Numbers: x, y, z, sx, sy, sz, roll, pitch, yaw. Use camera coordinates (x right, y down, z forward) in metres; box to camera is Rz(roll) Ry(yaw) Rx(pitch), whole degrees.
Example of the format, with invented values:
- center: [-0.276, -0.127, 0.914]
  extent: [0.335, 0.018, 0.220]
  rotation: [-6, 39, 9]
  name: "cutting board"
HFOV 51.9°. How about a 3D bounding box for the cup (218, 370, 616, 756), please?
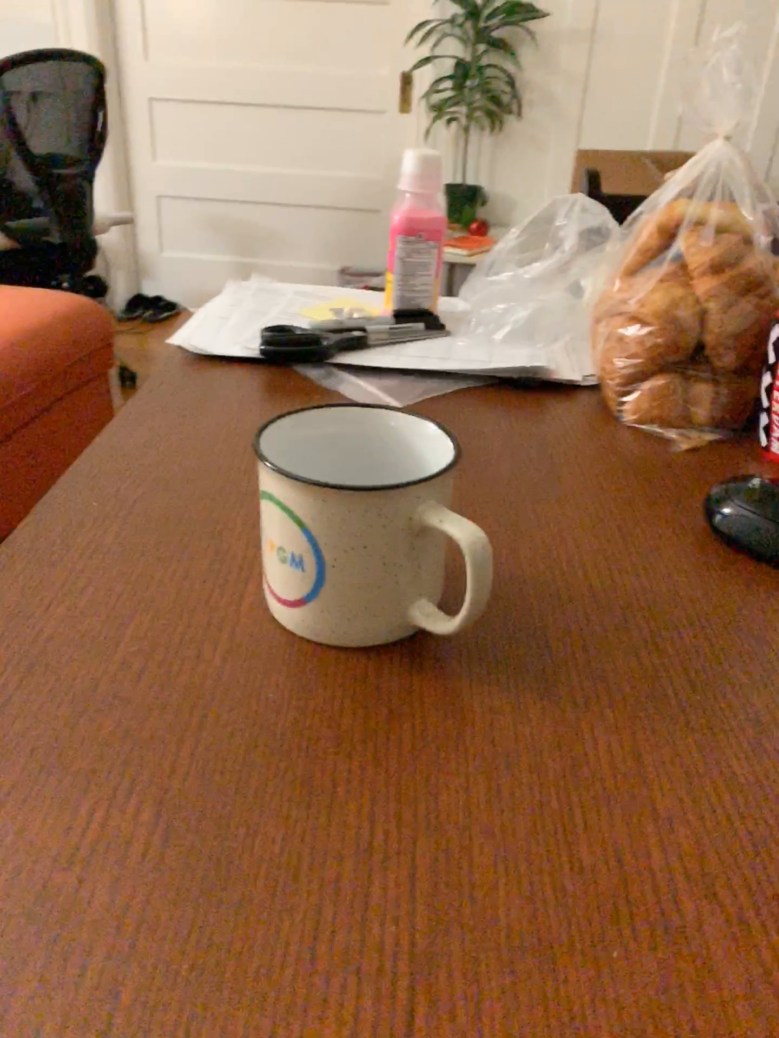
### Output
- center: [0.005, 0.008, 0.377]
  extent: [0.100, 0.099, 0.151]
  rotation: [-21, 37, -37]
  name: "cup"
